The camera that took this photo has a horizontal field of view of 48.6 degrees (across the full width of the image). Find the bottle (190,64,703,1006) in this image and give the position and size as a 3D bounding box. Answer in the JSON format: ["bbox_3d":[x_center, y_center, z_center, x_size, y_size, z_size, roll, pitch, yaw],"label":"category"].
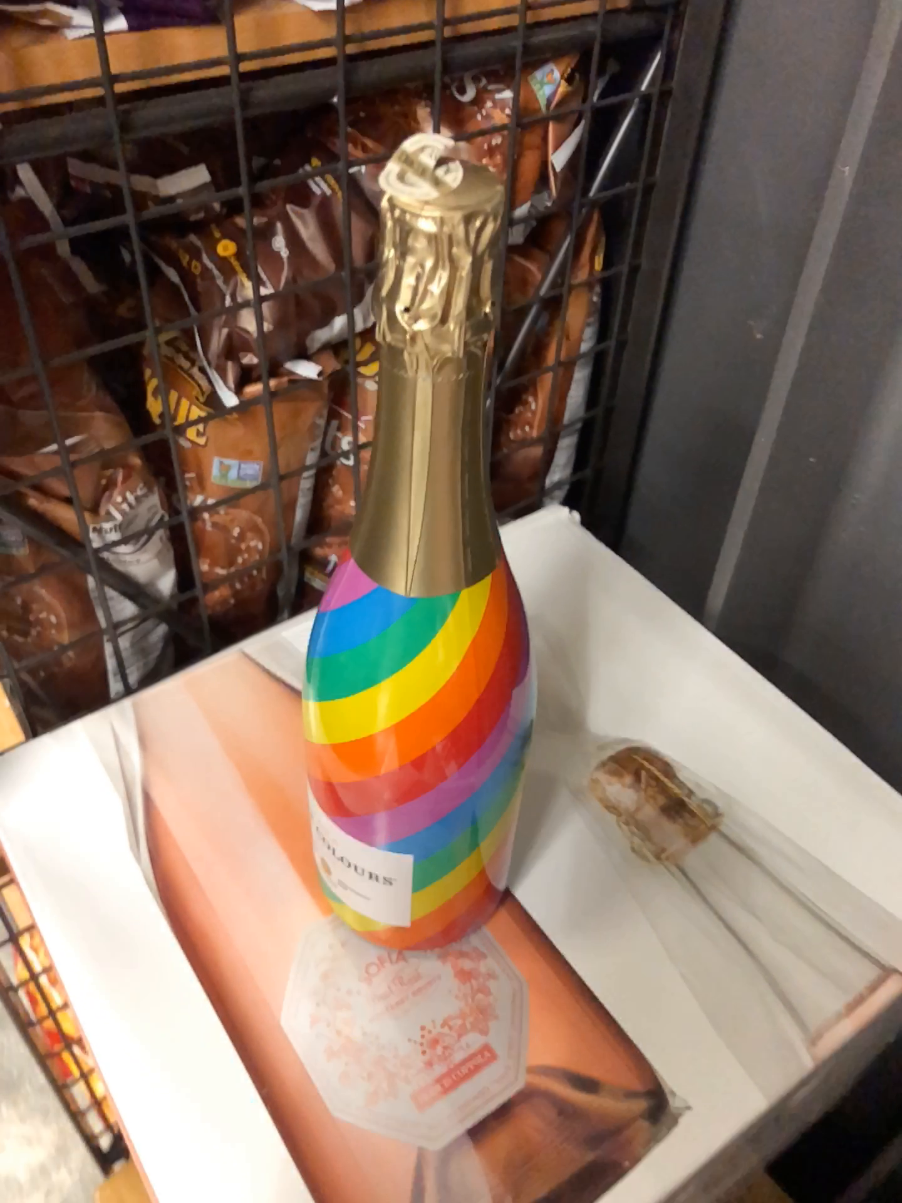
[{"bbox_3d":[-0.010,0.007,0.344,0.088,0.319,0.088,2,43,-2],"label":"bottle"}]
